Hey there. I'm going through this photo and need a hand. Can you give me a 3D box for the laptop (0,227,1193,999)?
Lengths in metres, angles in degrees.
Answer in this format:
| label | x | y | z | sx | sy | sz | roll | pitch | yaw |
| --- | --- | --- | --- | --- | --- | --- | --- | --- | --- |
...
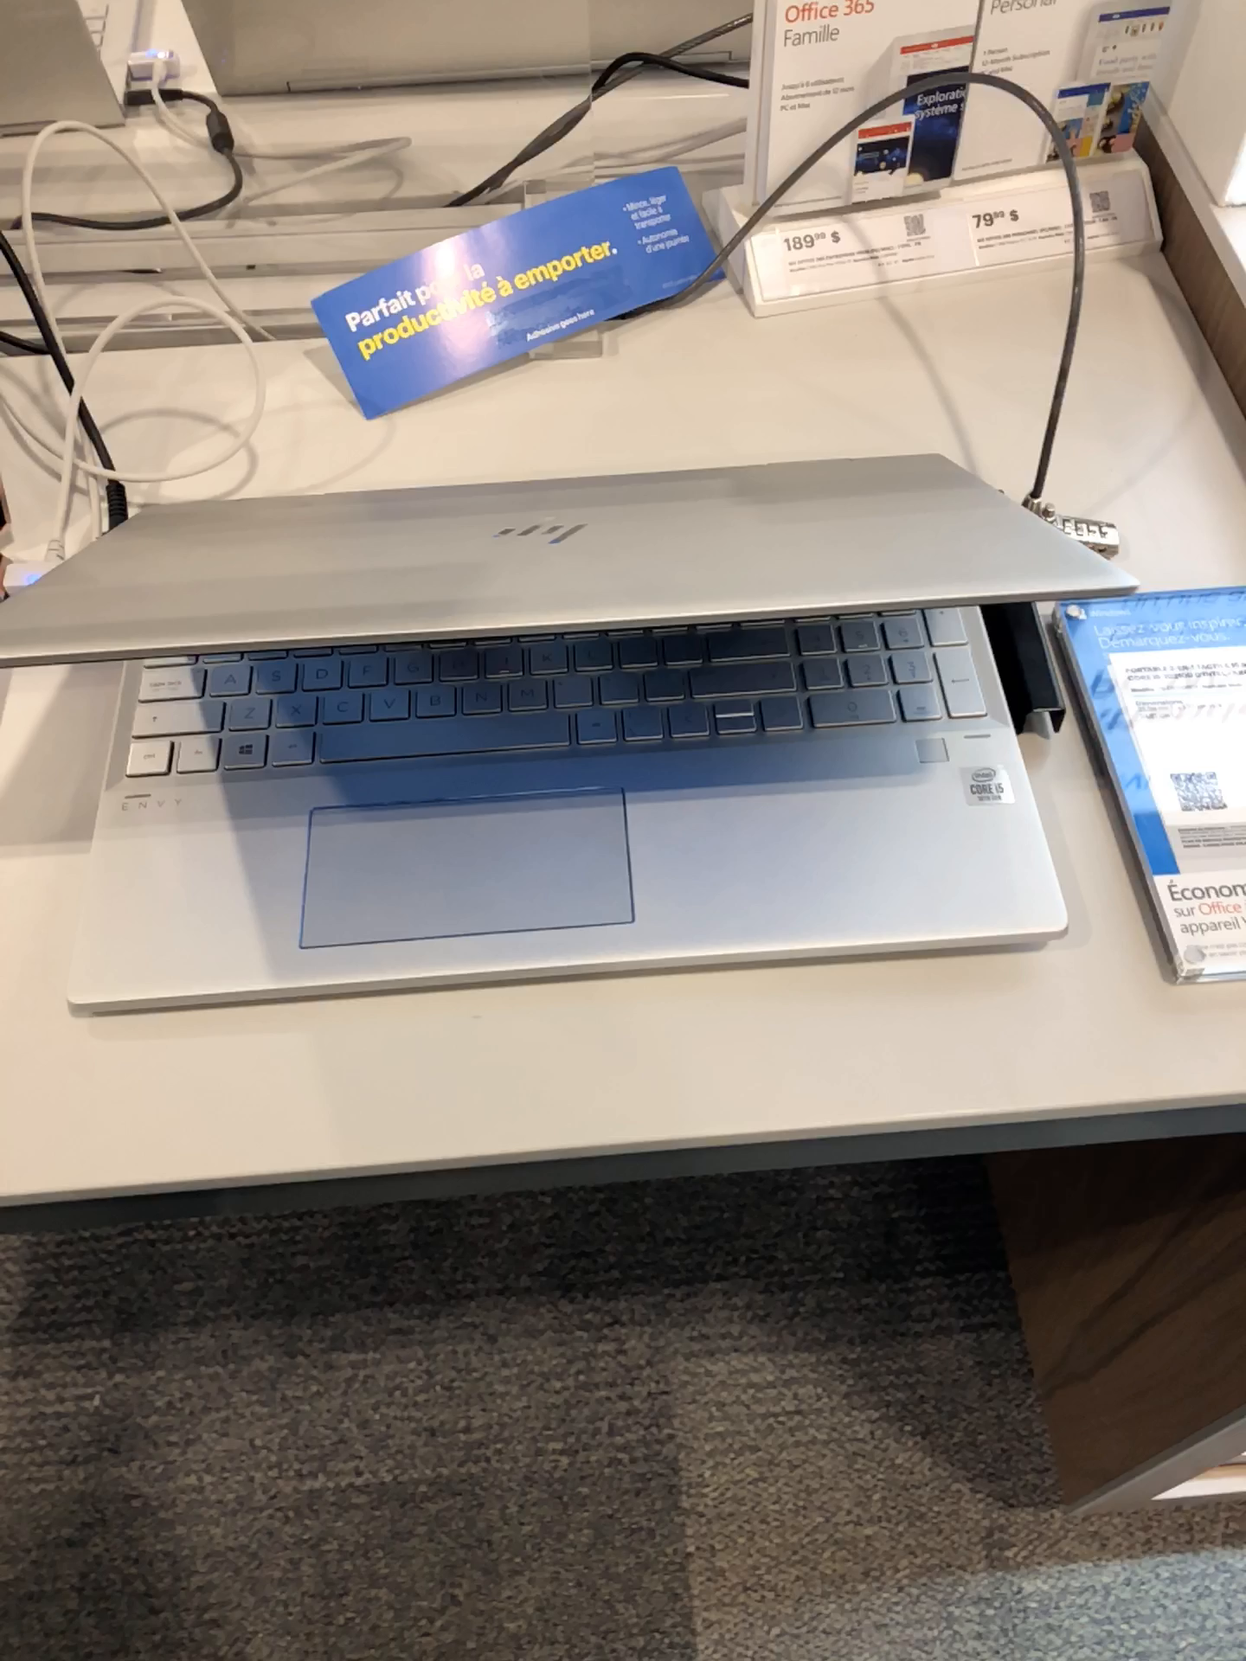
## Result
| label | x | y | z | sx | sy | sz | roll | pitch | yaw |
| --- | --- | --- | --- | --- | --- | --- | --- | --- | --- |
| laptop | -0.024 | -0.080 | 0.486 | 0.346 | 0.116 | 0.230 | -4 | 57 | 0 |
